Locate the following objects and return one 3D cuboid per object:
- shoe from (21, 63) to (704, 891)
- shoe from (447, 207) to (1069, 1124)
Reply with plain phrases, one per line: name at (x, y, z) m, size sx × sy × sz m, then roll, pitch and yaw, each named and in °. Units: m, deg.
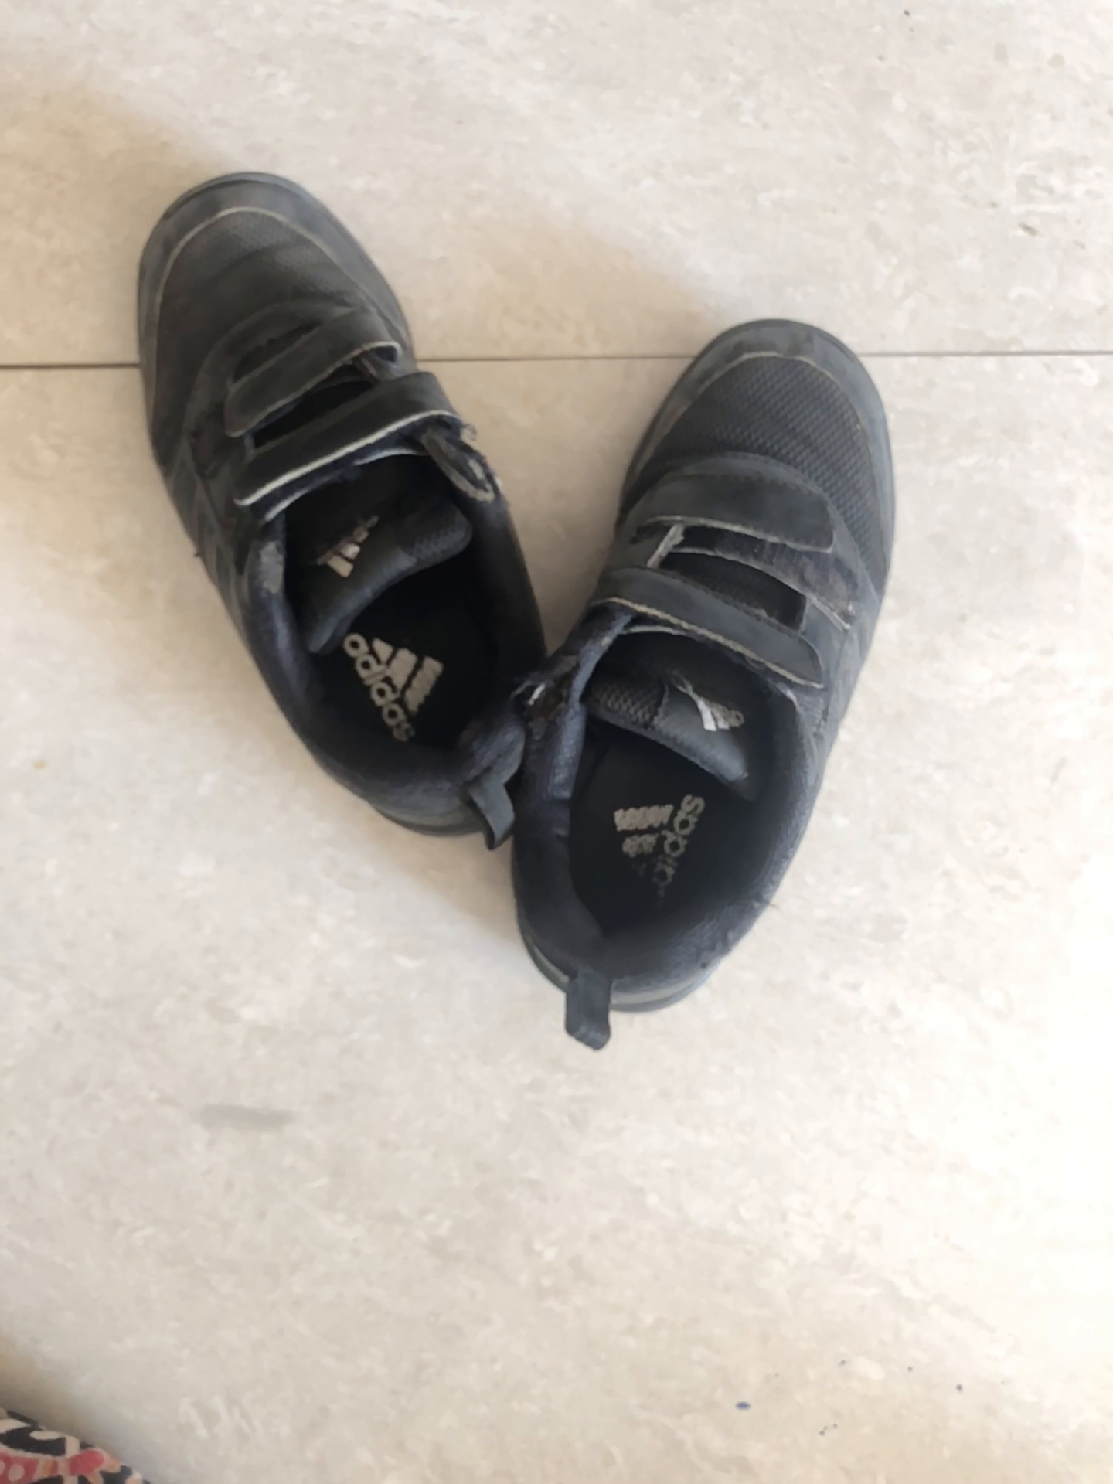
shoe at (-0.053, -0.070, 0.369) m, size 0.100 × 0.080 × 0.200 m, roll -28°, pitch 86°, yaw -2°
shoe at (0.054, -0.020, 0.373) m, size 0.100 × 0.100 × 0.220 m, roll 18°, pitch 86°, yaw 2°
